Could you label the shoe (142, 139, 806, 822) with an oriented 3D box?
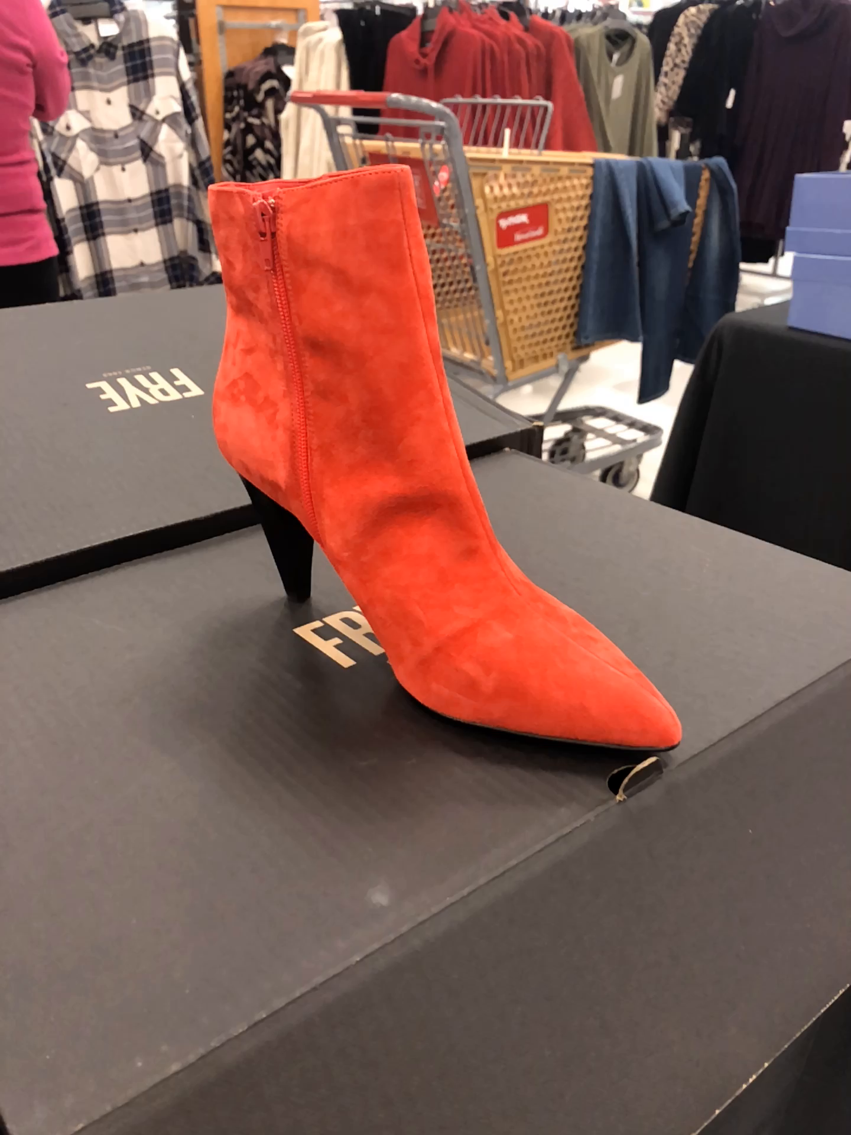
[{"bbox_3d":[0.004,-0.059,0.402,0.101,0.211,0.261,-23,30,-37],"label":"shoe"}]
